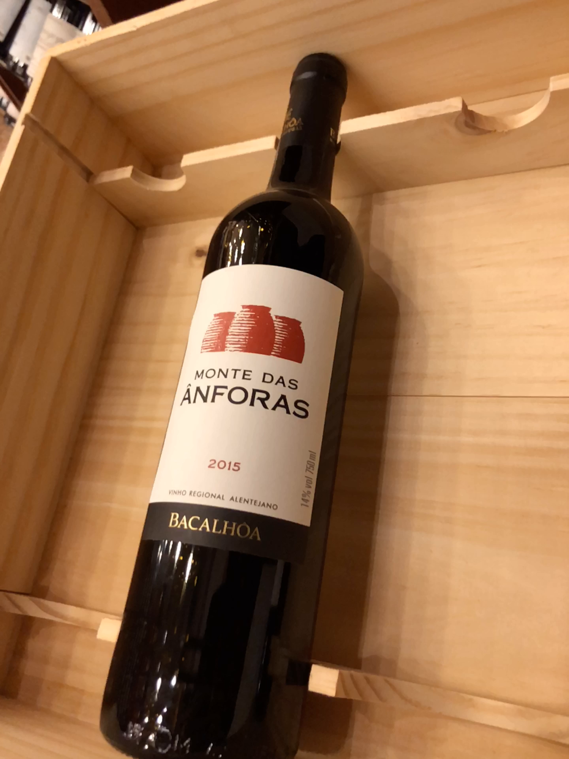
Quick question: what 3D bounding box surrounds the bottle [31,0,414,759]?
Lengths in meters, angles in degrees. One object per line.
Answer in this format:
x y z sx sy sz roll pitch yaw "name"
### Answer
-0.010 -0.016 0.270 0.080 0.060 0.321 1 70 27 "bottle"
